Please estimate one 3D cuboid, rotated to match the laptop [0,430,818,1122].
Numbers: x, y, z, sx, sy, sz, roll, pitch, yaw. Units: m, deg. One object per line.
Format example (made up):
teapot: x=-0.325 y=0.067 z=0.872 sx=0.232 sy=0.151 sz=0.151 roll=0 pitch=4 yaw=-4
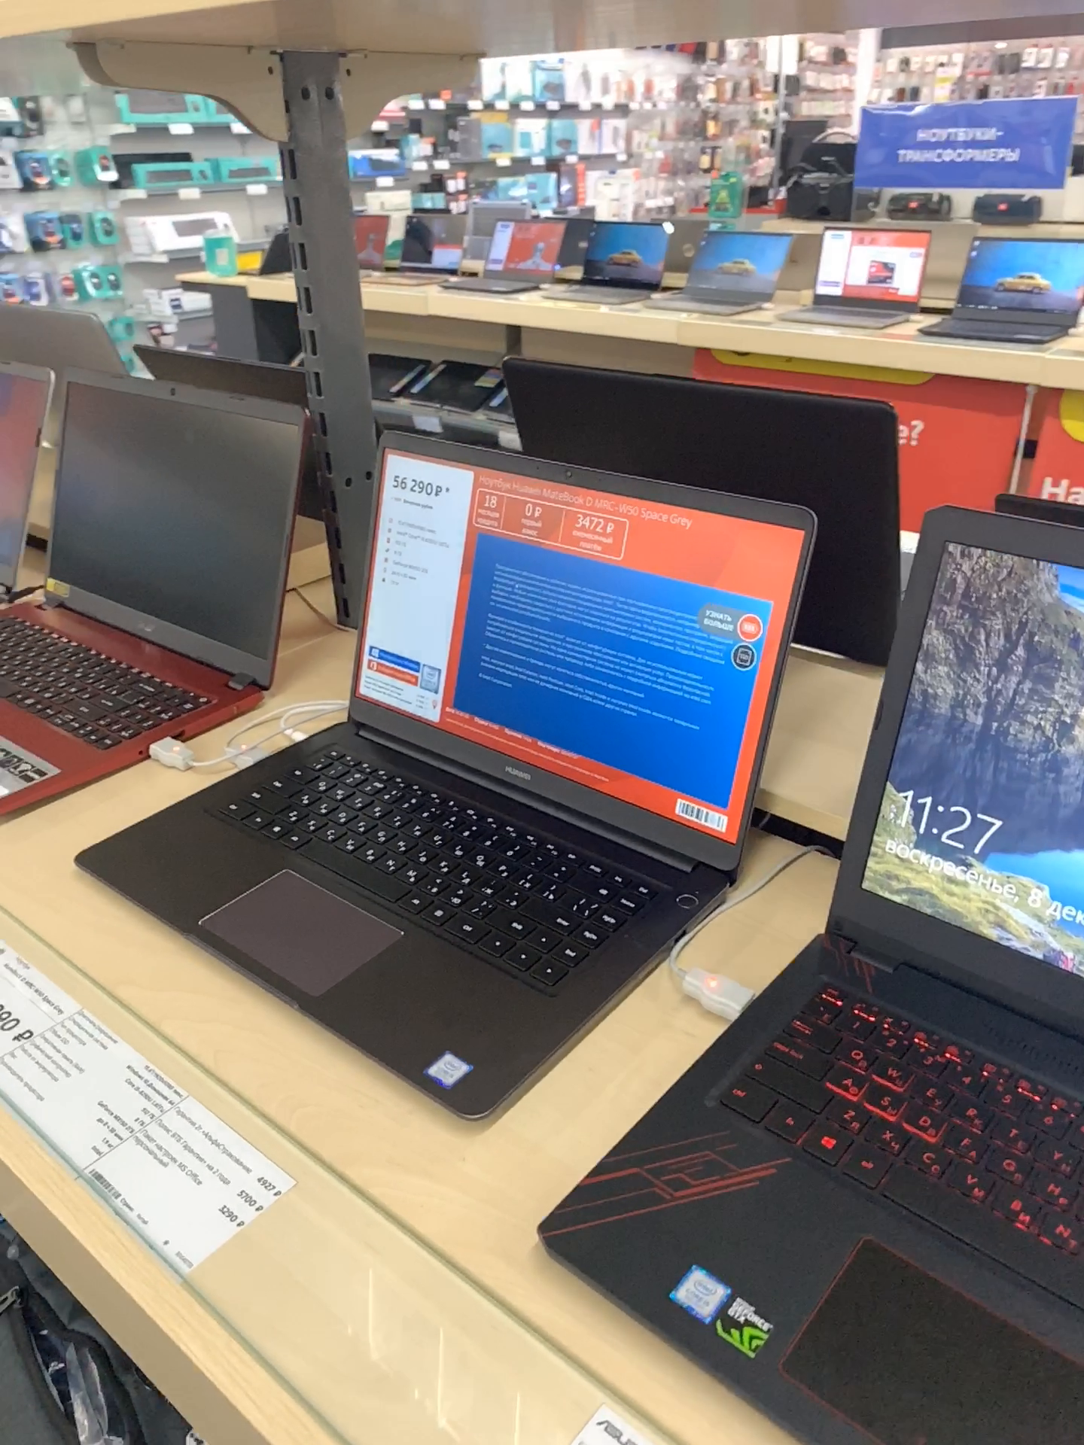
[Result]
laptop: x=-0.073 y=-0.016 z=0.667 sx=0.349 sy=0.209 sz=0.303 roll=20 pitch=35 yaw=35
